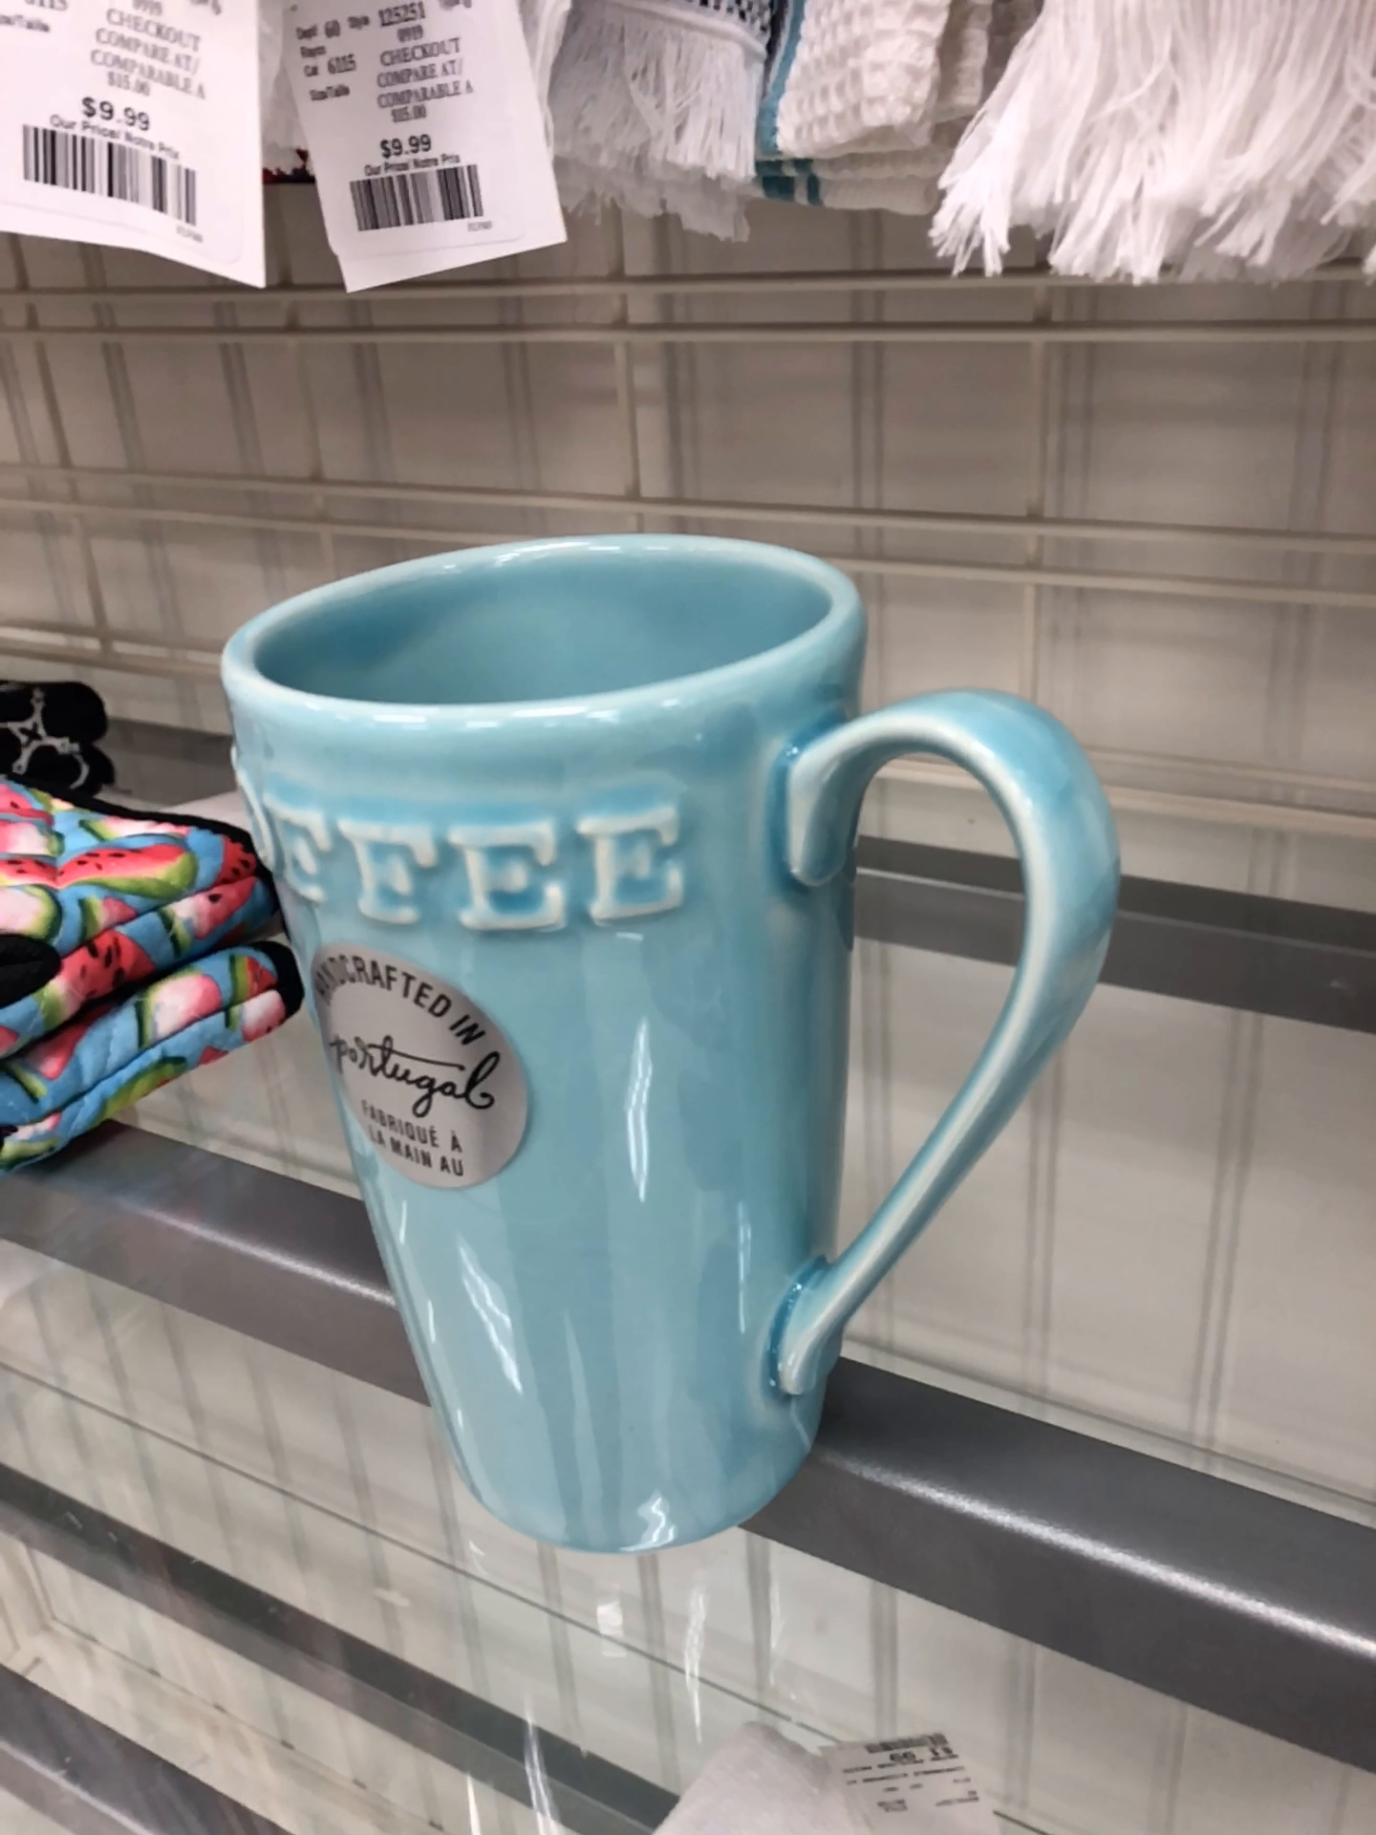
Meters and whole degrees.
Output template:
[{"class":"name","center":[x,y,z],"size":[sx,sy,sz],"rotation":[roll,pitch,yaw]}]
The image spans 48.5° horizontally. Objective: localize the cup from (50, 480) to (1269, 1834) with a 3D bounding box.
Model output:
[{"class":"cup","center":[-0.004,0.020,0.226],"size":[0.130,0.139,0.090],"rotation":[19,34,39]}]
